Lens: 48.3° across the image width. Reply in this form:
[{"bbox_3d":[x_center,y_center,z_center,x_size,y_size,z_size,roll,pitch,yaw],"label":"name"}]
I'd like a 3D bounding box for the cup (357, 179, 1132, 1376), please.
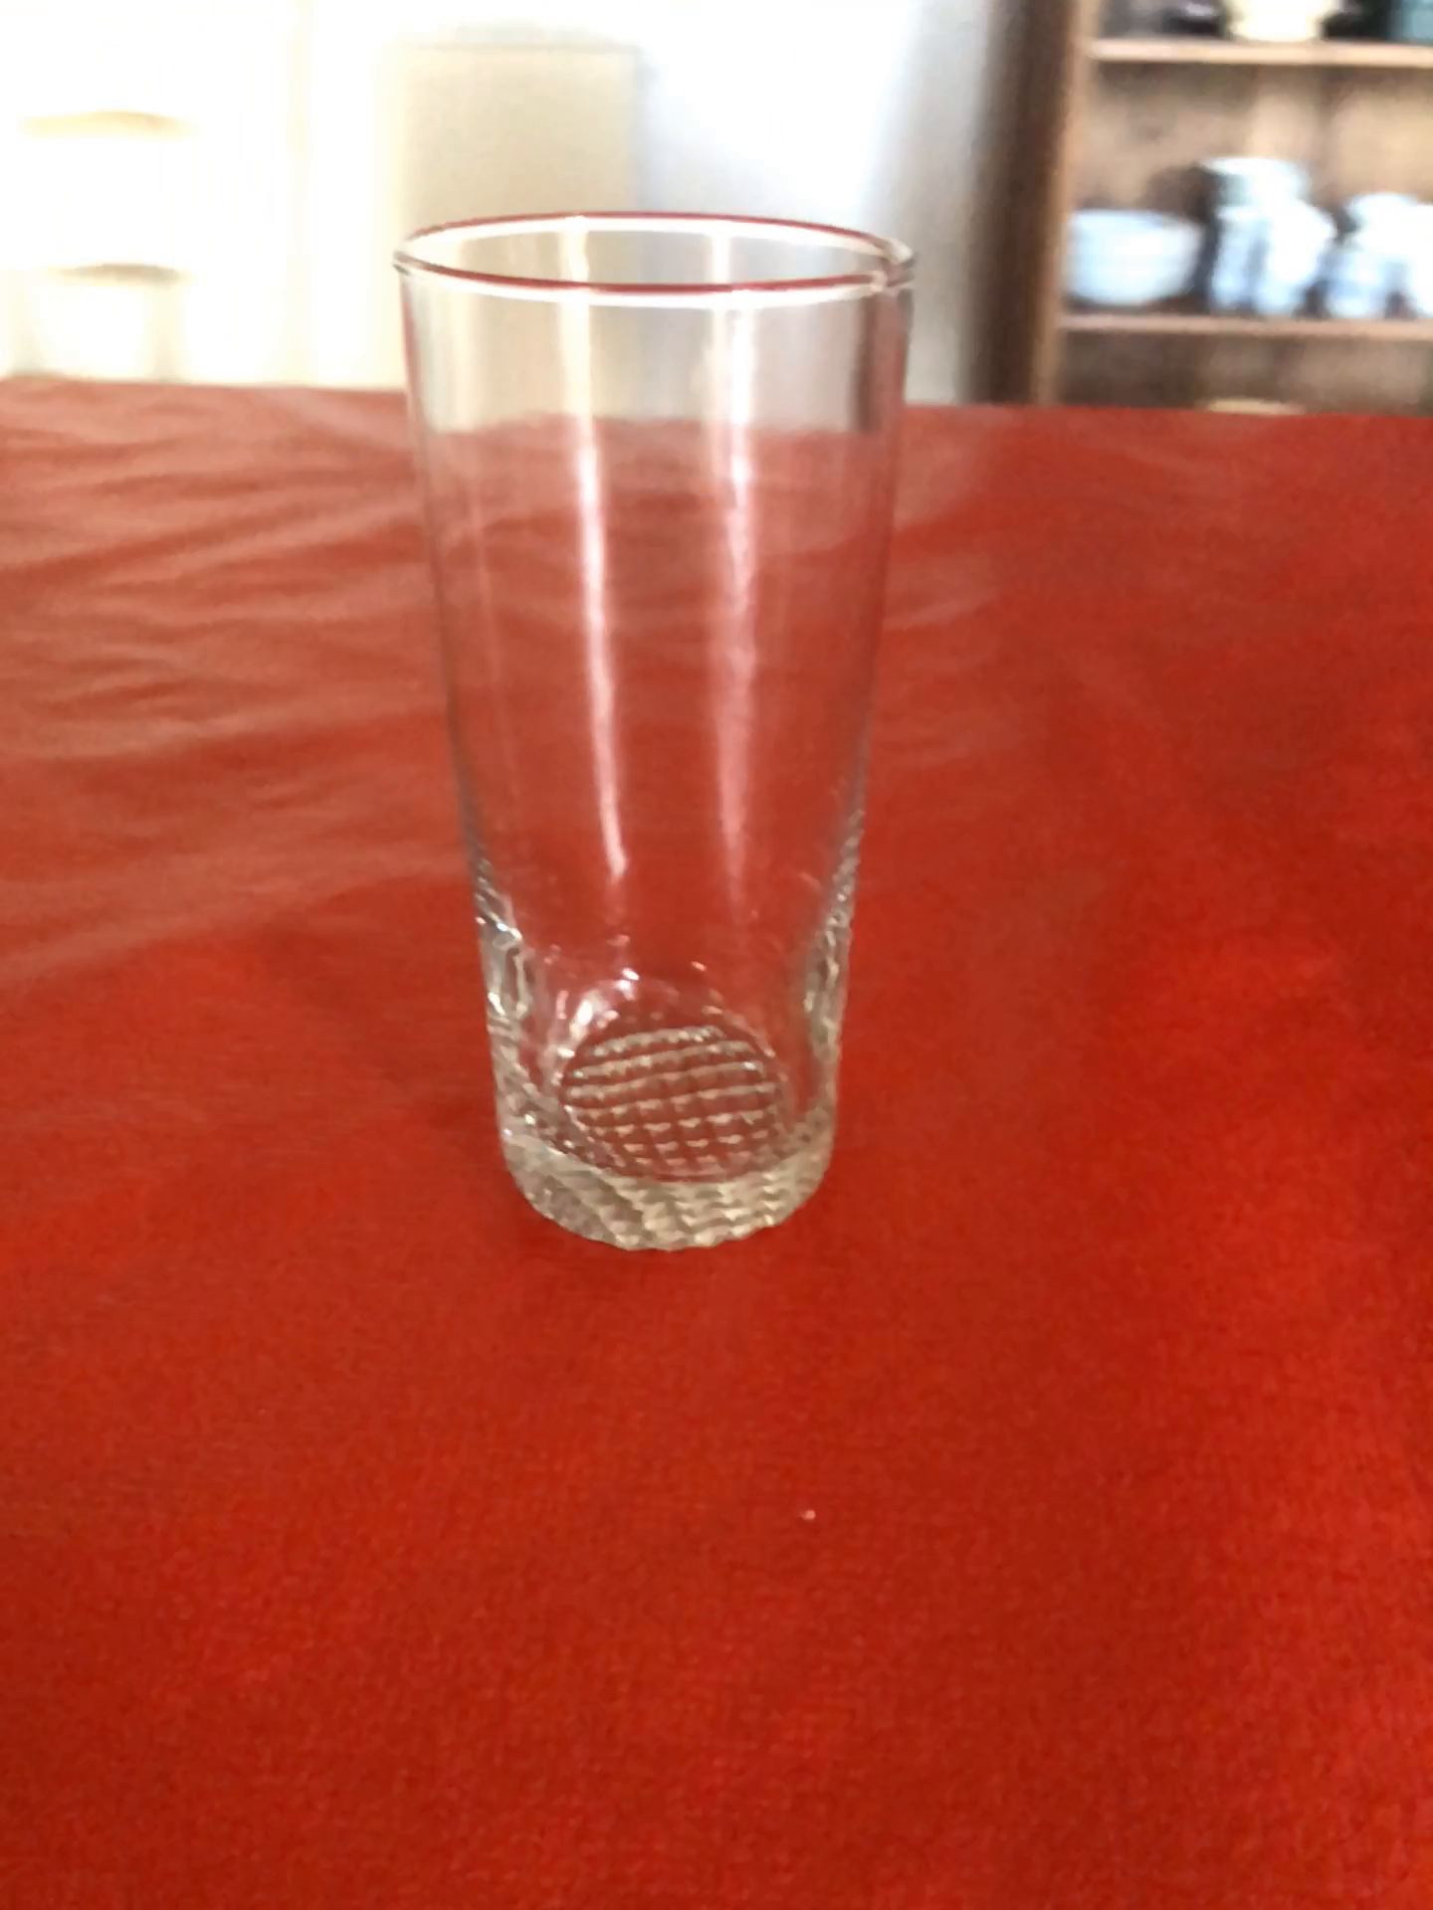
[{"bbox_3d":[0.001,-0.027,0.237,0.070,0.149,0.070,0,31,0],"label":"cup"}]
